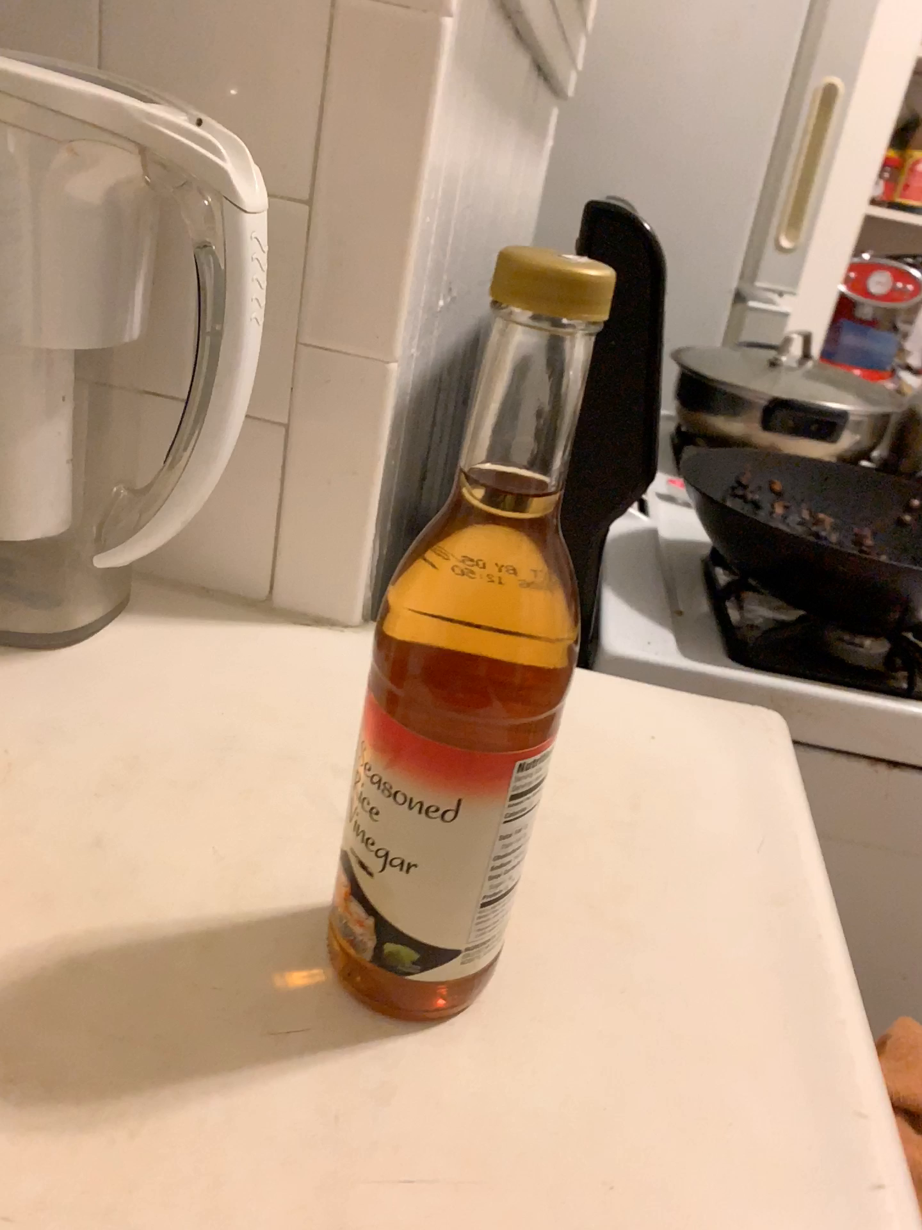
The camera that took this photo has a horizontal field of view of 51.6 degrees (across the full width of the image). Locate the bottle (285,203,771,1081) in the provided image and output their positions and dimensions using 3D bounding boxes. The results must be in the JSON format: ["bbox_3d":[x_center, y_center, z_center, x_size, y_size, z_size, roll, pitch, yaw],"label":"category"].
[{"bbox_3d":[0.010,0.014,0.284,0.070,0.239,0.070,9,26,-5],"label":"bottle"}]
